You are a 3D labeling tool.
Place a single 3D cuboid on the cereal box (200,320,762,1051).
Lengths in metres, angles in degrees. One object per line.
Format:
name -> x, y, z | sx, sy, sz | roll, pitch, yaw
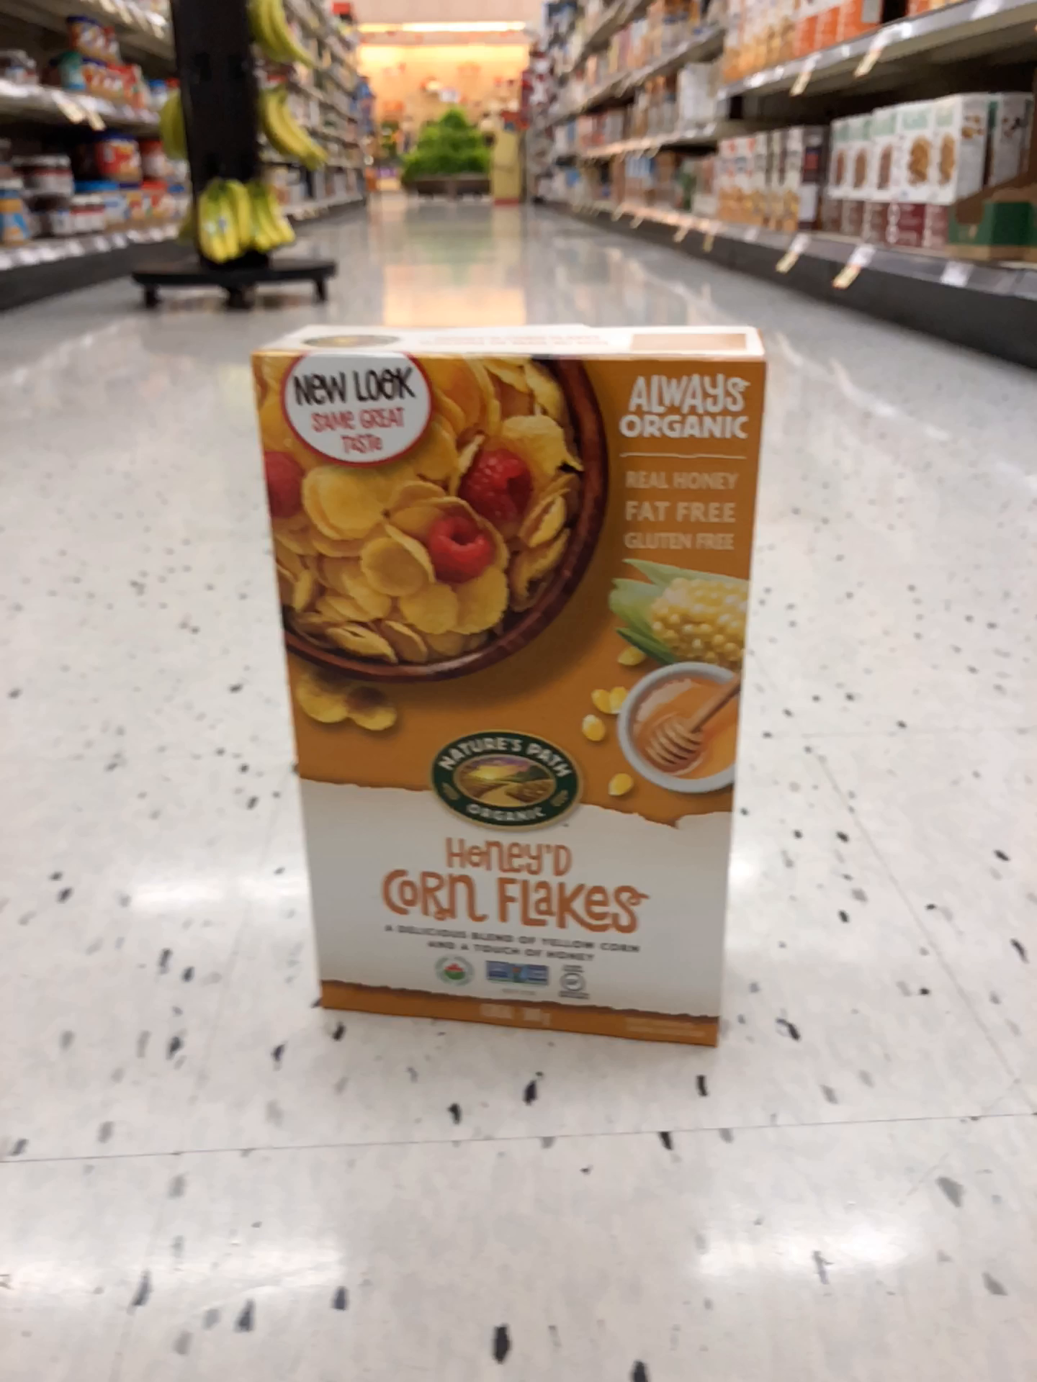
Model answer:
cereal box -> -0.007, 0.001, 0.400 | 0.160, 0.239, 0.060 | 3, 25, 9
